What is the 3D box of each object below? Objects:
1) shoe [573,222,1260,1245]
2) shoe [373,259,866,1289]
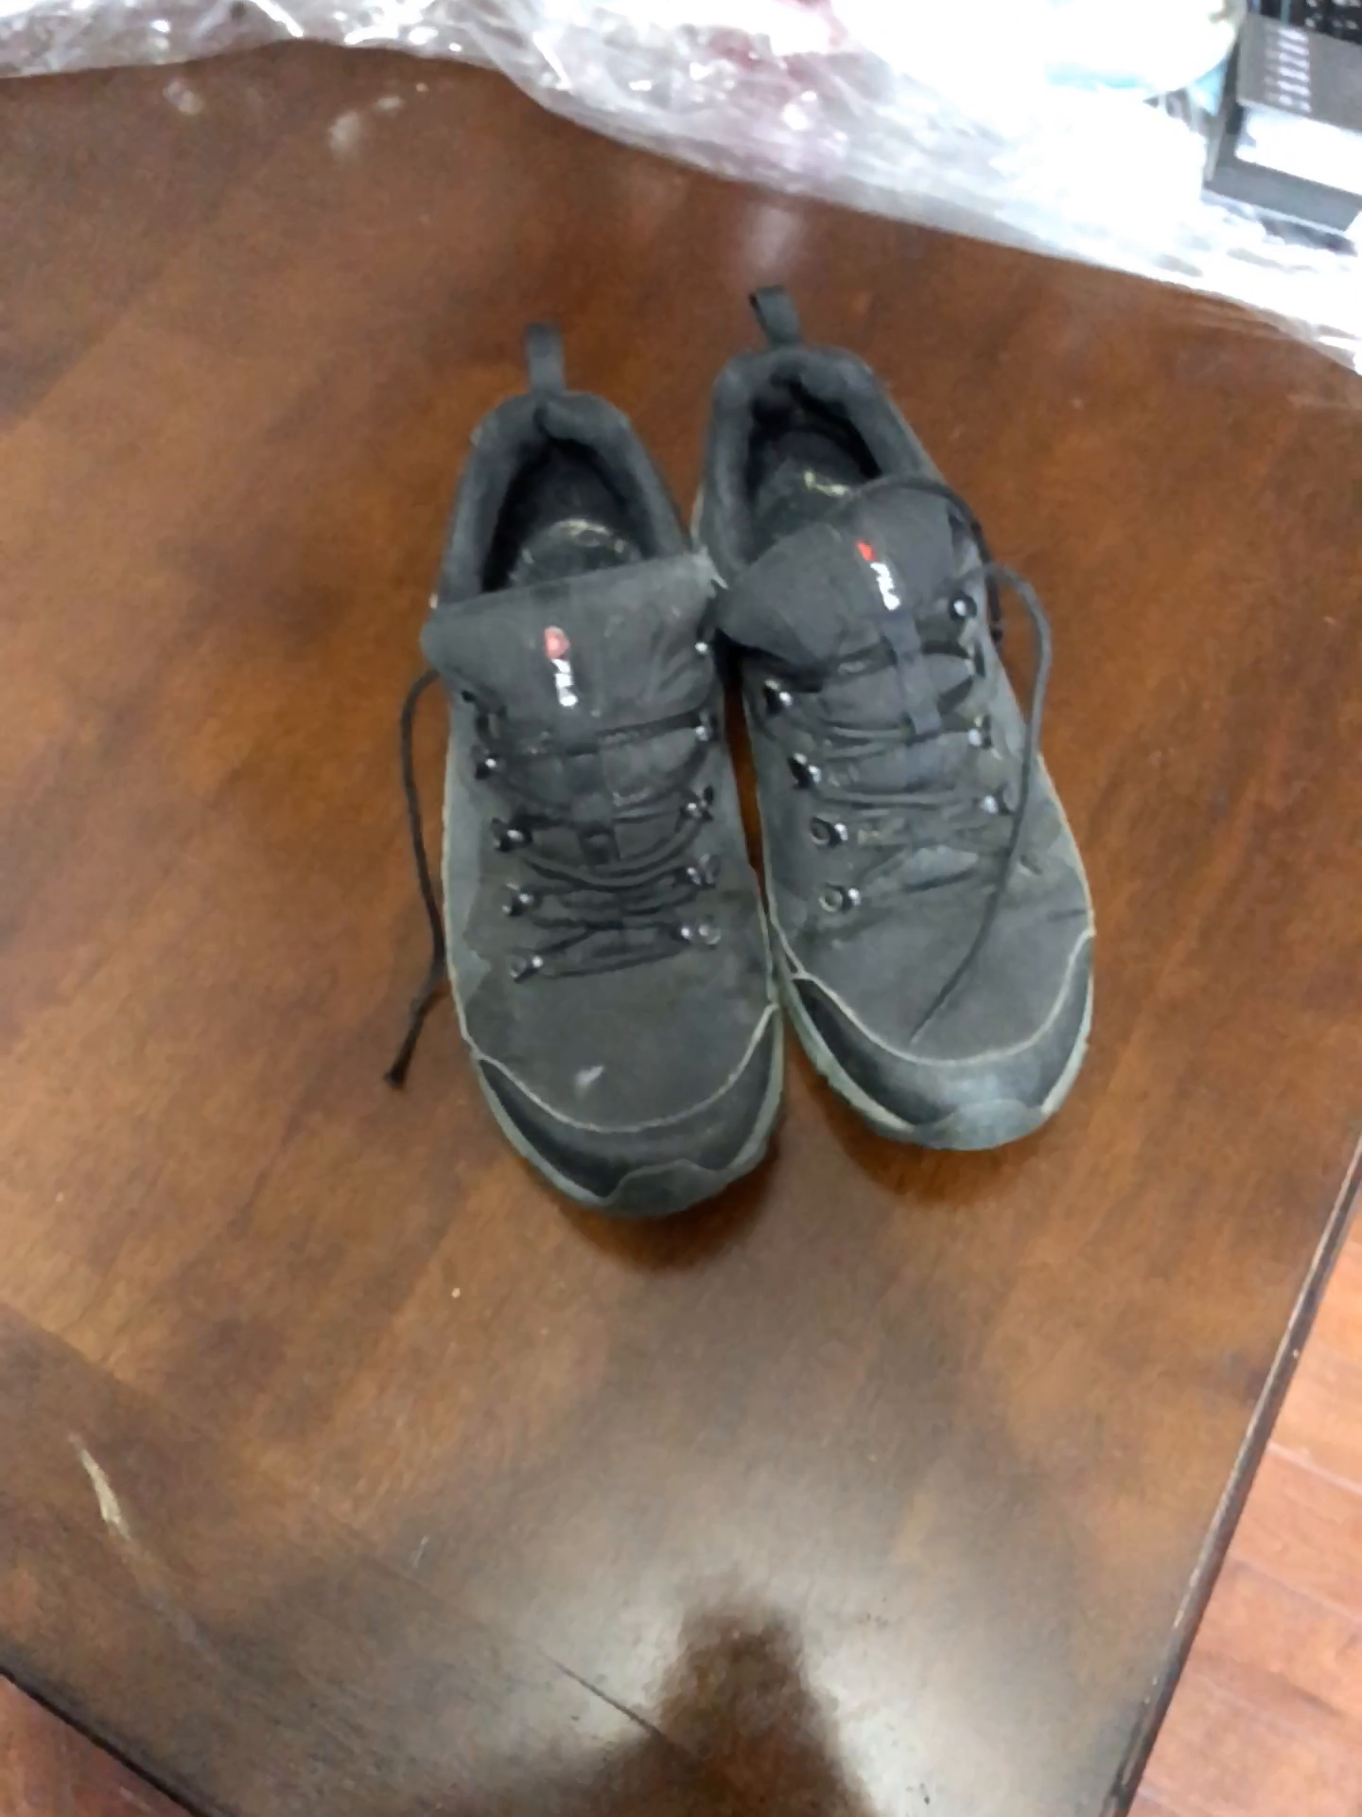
[{"bbox_3d":[0.065,-0.065,0.552,0.120,0.150,0.320,-15,65,-4],"label":"shoe"},{"bbox_3d":[-0.026,-0.047,0.556,0.120,0.170,0.320,-8,64,0],"label":"shoe"}]
